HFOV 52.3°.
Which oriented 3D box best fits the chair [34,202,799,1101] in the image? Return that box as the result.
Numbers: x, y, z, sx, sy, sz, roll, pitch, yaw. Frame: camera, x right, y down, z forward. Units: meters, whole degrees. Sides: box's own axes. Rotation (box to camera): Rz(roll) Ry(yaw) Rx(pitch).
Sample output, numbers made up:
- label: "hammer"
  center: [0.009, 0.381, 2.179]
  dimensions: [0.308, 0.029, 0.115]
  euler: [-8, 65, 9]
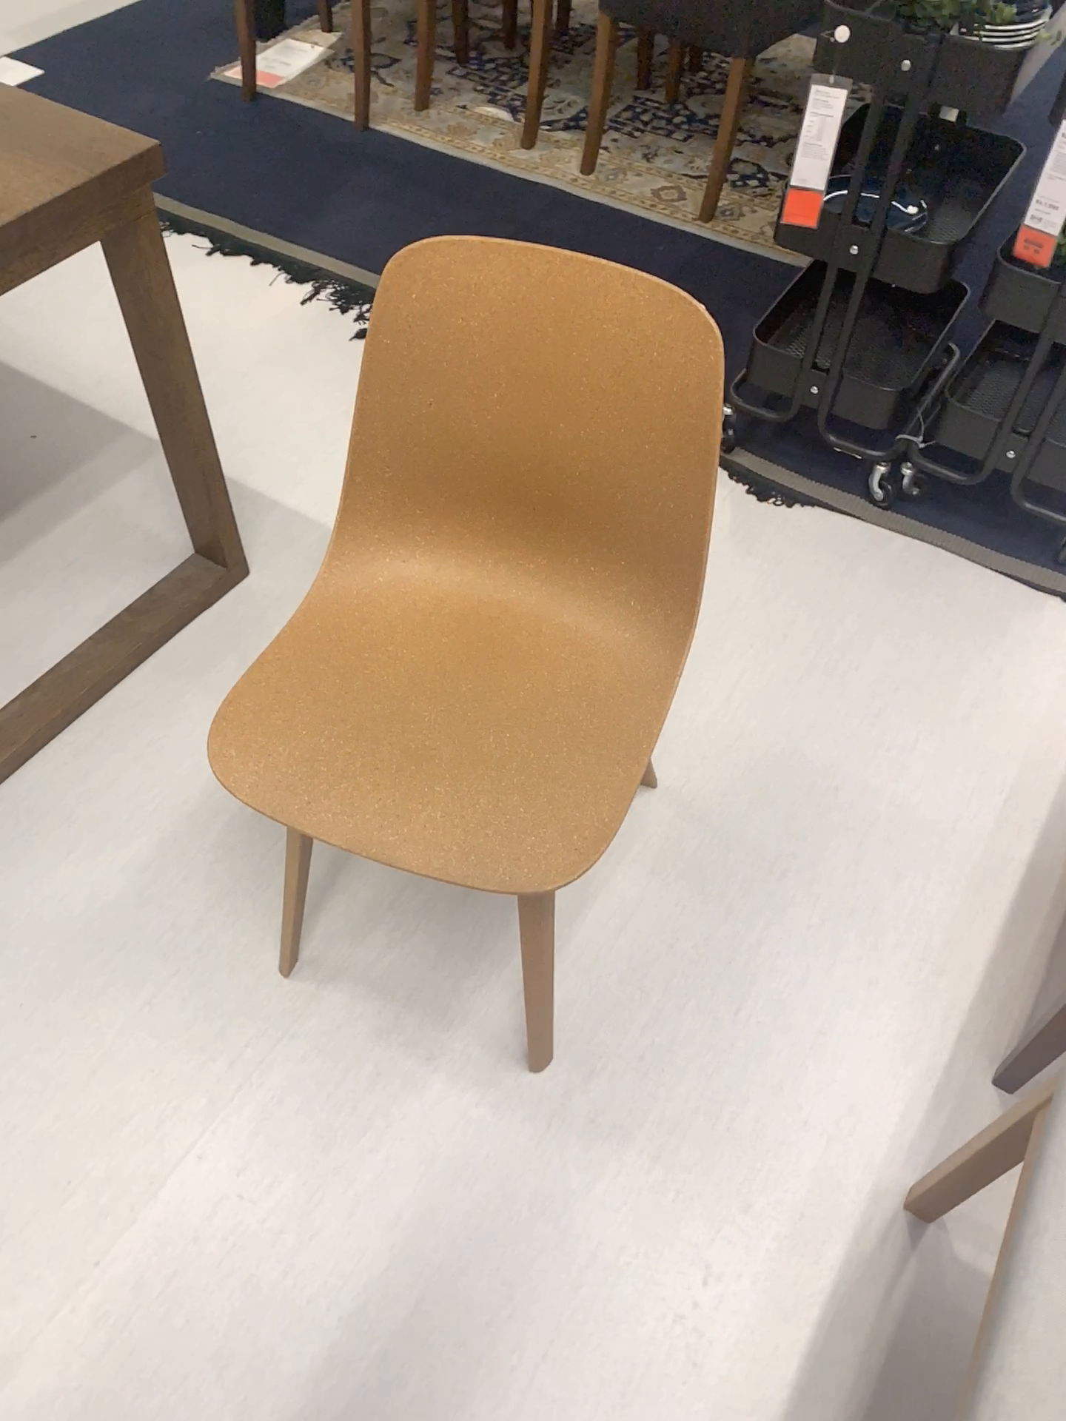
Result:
- label: "chair"
  center: [-0.064, -0.029, 1.162]
  dimensions: [0.440, 0.718, 0.521]
  euler: [17, 53, 12]
